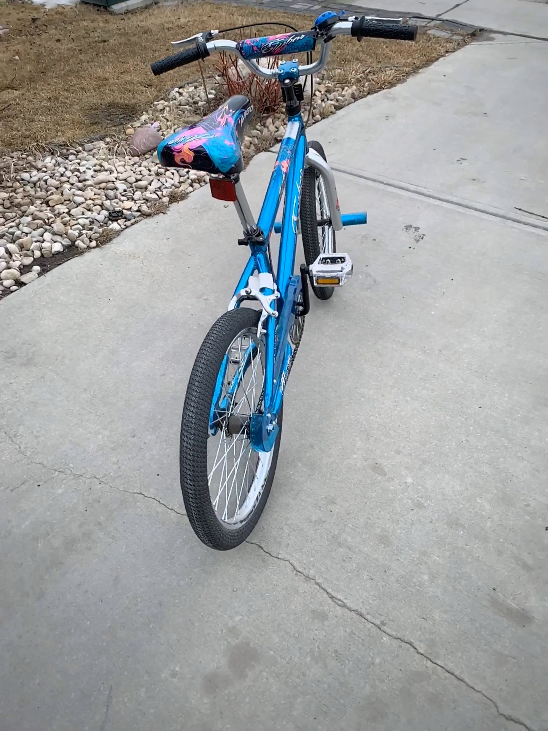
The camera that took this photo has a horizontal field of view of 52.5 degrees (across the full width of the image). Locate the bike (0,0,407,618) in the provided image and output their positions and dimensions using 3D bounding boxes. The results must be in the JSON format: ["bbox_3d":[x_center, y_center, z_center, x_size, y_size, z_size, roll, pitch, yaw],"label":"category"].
[{"bbox_3d":[-0.088,-0.322,1.392,0.681,0.837,1.392,7,45,9],"label":"bike"}]
